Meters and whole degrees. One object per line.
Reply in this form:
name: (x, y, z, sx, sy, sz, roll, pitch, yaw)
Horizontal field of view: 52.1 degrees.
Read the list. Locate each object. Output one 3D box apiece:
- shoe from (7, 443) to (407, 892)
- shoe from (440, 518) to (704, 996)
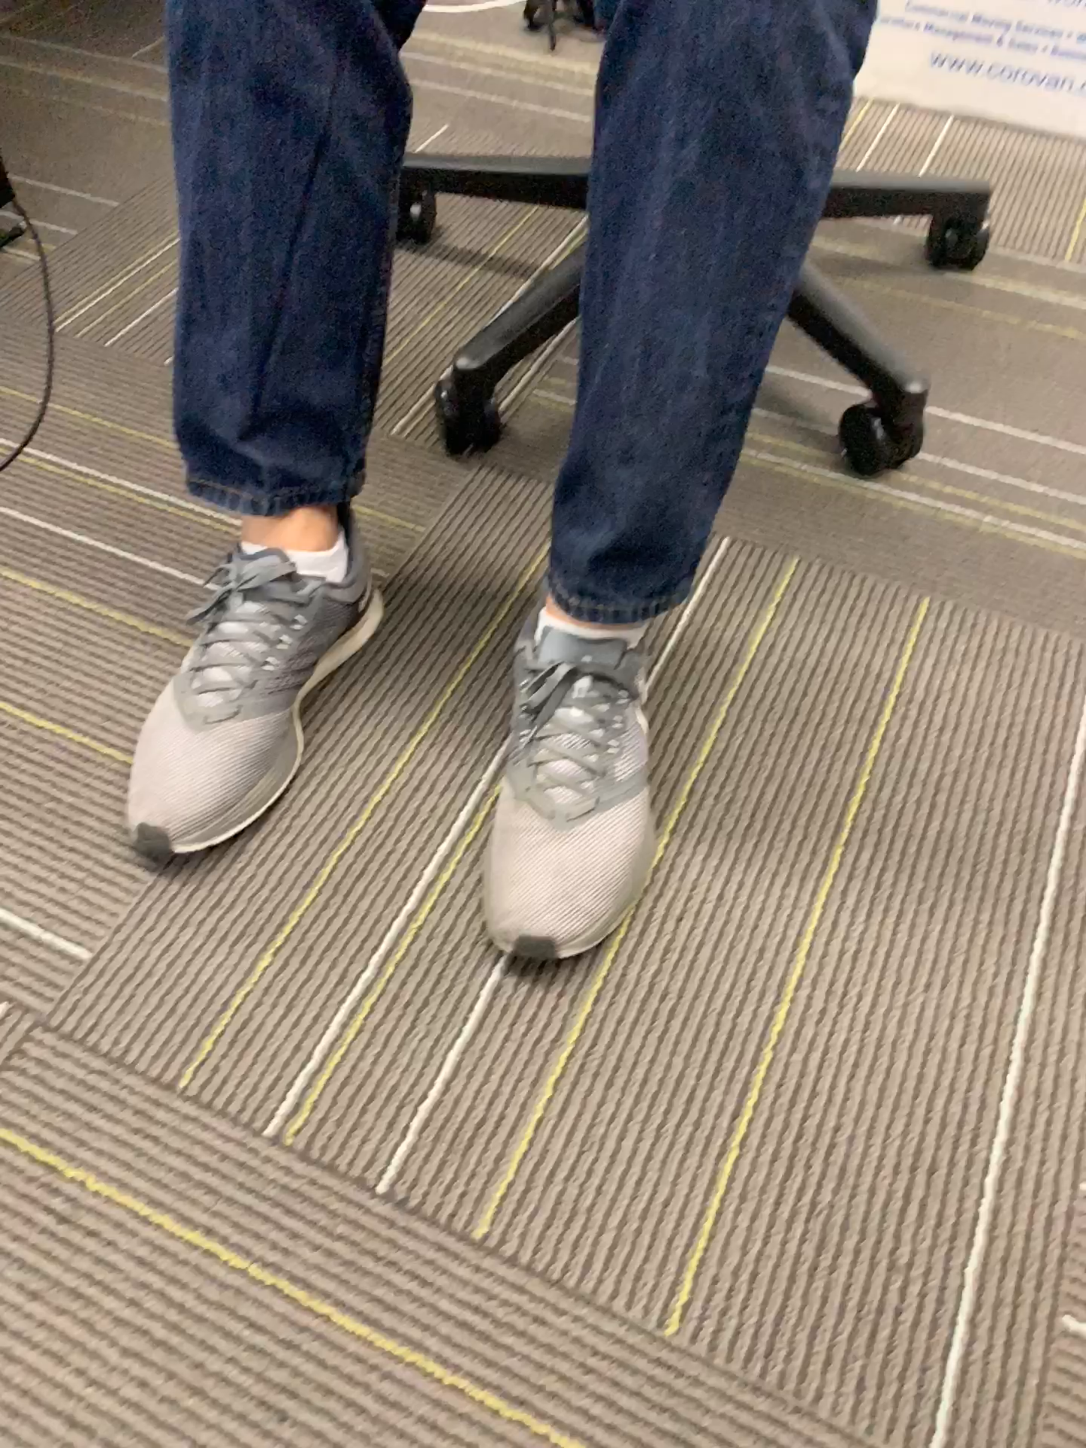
shoe: (-0.216, -0.050, 0.785, 0.120, 0.123, 0.291, 15, 53, 12)
shoe: (0.028, 0.012, 0.744, 0.120, 0.123, 0.291, 8, 52, 6)
